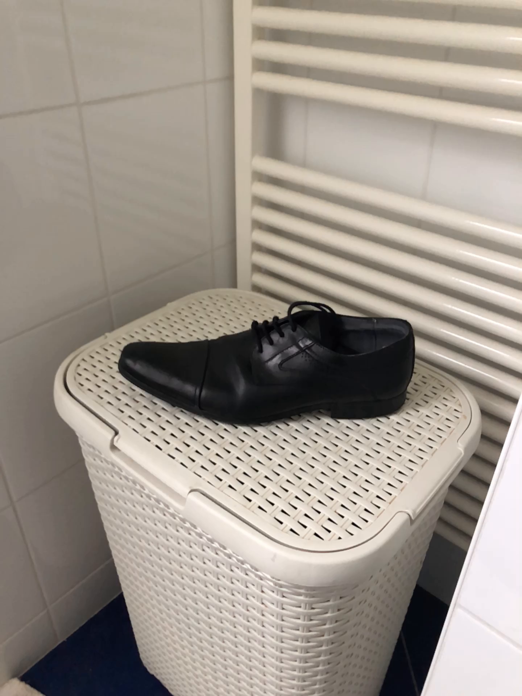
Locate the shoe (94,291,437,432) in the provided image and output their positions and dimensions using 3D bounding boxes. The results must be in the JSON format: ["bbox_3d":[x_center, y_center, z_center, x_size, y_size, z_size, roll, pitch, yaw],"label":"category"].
[{"bbox_3d":[0.004,0.012,0.593,0.310,0.099,0.111,0,34,-1],"label":"shoe"}]
